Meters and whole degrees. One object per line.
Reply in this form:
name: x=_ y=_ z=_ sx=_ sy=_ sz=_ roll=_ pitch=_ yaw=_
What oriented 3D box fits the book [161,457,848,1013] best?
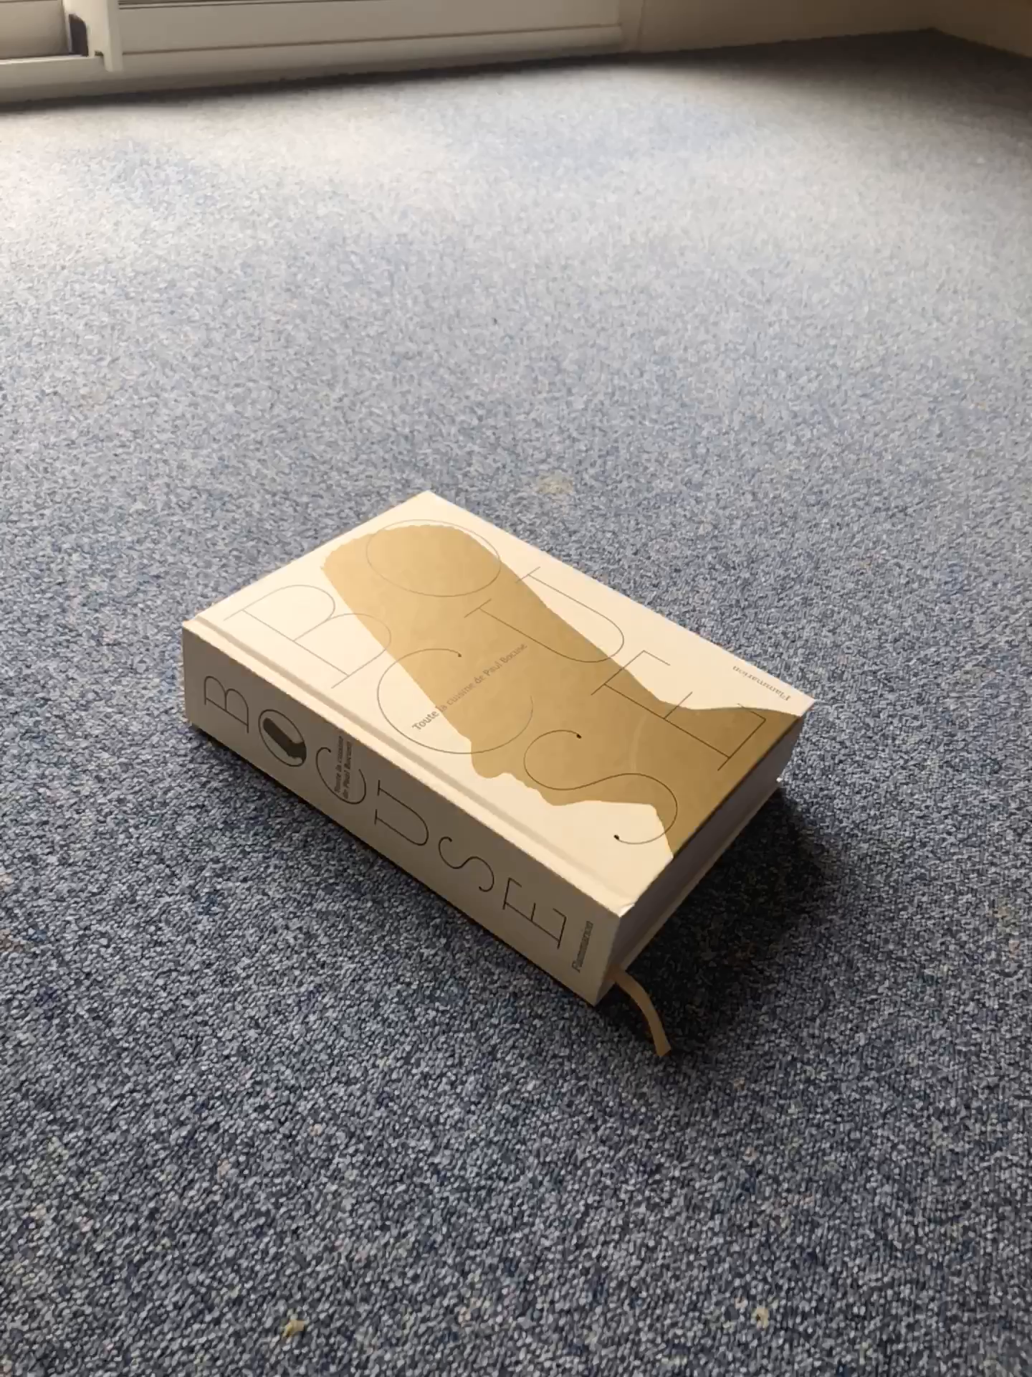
book: x=-0.008 y=0.000 z=0.590 sx=0.280 sy=0.080 sz=0.201 roll=30 pitch=44 yaw=24
